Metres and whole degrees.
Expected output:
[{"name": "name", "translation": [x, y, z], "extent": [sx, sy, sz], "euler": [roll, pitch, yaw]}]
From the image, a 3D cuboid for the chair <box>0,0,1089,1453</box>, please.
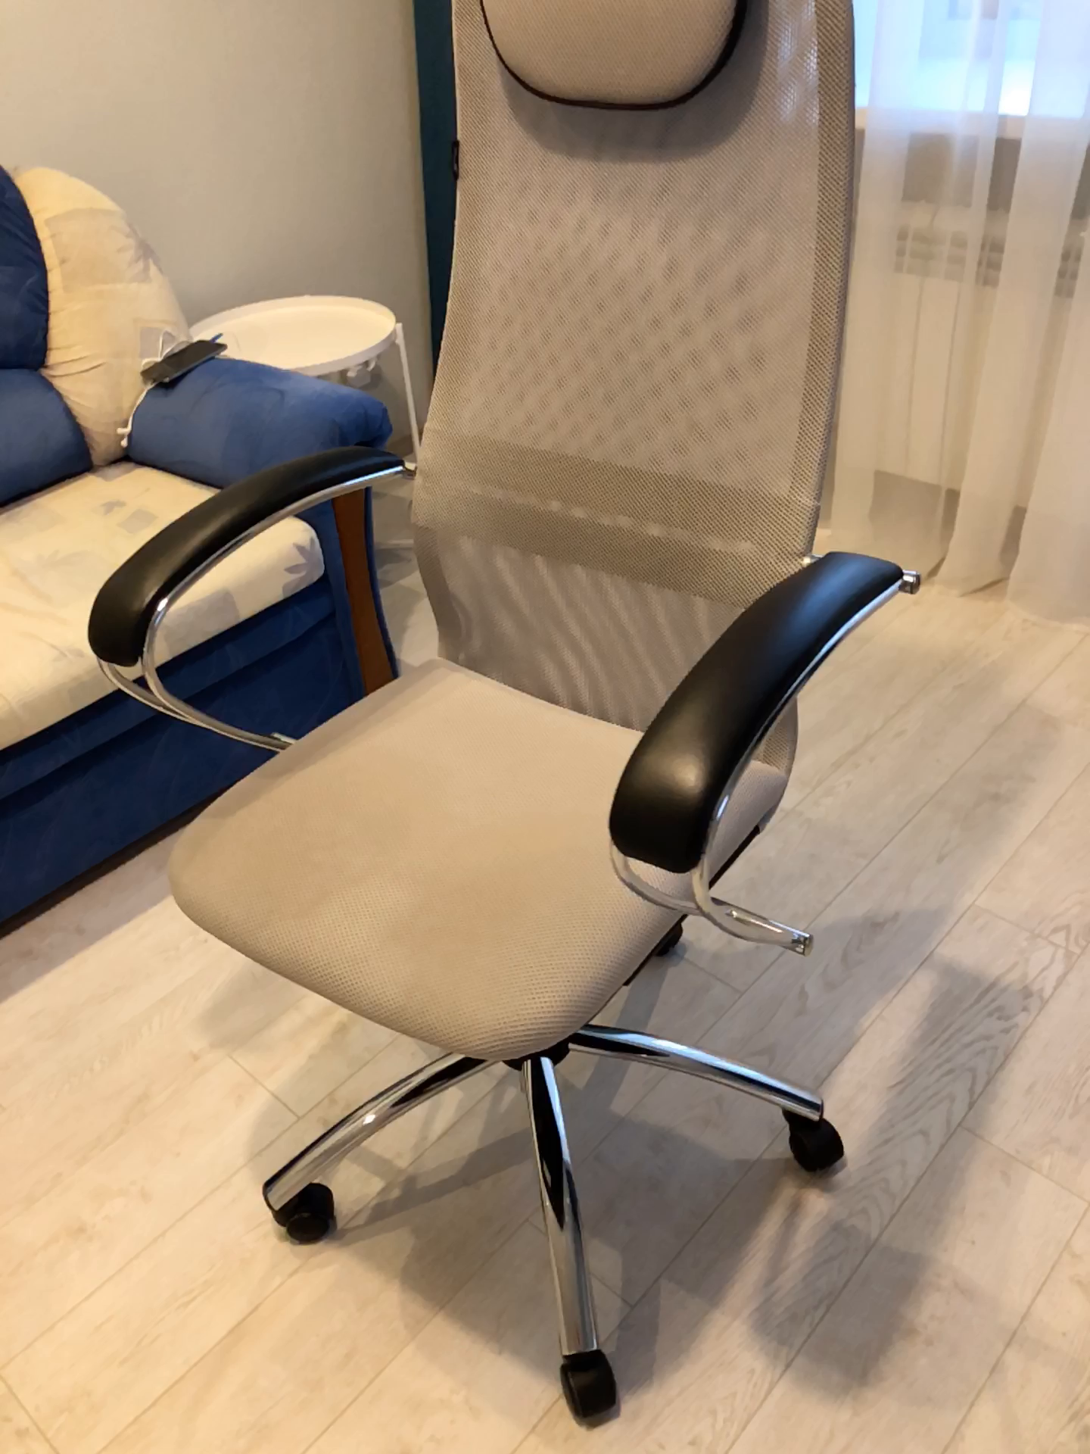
[{"name": "chair", "translation": [-0.032, -0.081, 1.062], "extent": [0.682, 1.152, 0.693], "euler": [22, 43, 35]}]
